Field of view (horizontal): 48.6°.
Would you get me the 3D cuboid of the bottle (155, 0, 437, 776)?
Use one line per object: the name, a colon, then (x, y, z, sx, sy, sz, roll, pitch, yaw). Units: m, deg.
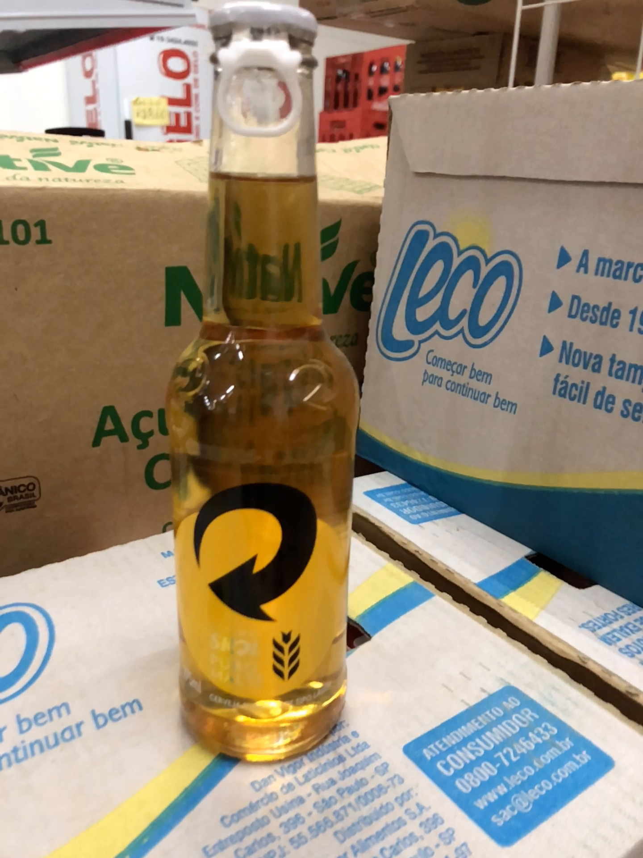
bottle: (-0.012, -0.005, 0.213, 0.060, 0.209, 0.060, 2, 19, -1)
